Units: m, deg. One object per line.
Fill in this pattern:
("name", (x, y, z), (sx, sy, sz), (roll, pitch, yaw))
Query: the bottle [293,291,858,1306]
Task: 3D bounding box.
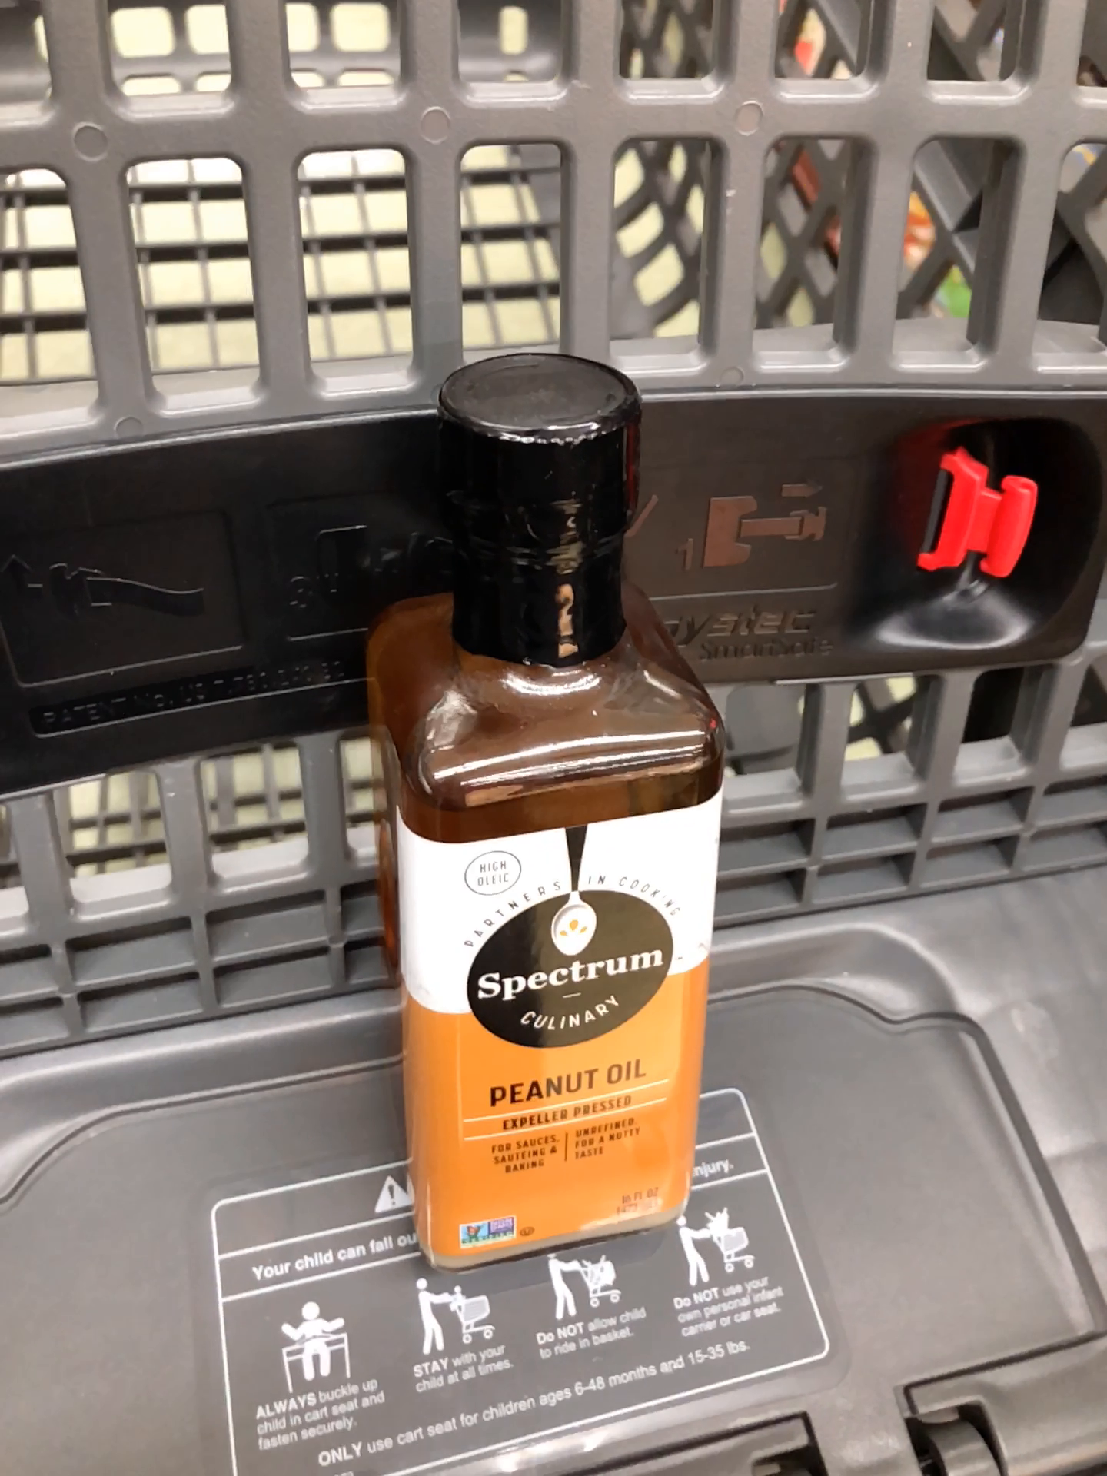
("bottle", (-0.002, 0.021, 0.245), (0.070, 0.190, 0.070), (1, 36, 0))
